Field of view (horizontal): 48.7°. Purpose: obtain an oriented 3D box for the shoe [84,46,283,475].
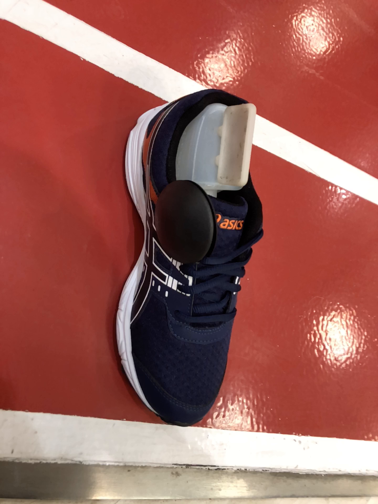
[{"bbox_3d":[-0.011,0.005,0.300,0.100,0.100,0.240,3,81,-29],"label":"shoe"}]
